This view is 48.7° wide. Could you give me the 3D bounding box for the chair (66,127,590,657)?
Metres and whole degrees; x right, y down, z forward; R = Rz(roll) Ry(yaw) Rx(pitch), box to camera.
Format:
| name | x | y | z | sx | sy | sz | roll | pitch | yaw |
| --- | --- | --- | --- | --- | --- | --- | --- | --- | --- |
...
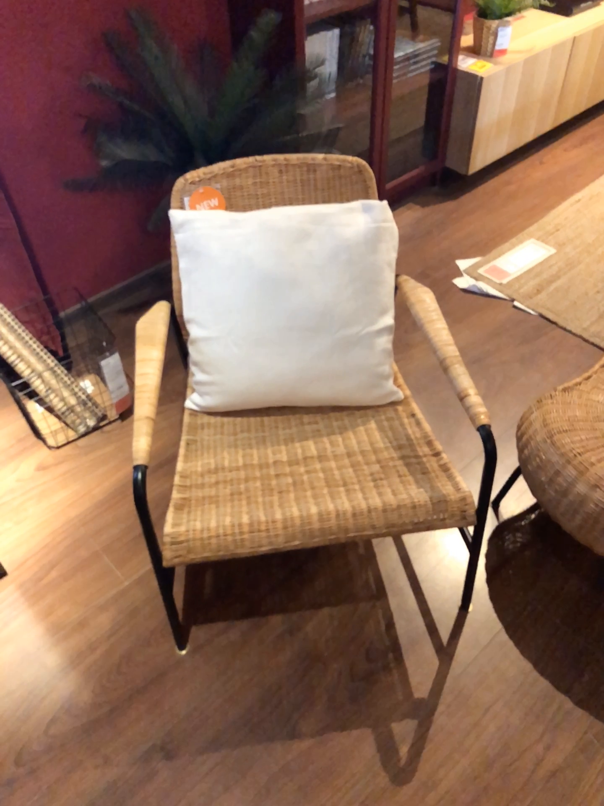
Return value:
| name | x | y | z | sx | sy | sz | roll | pitch | yaw |
| --- | --- | --- | --- | --- | --- | --- | --- | --- | --- |
| chair | 0.003 | -0.025 | 1.322 | 0.670 | 0.706 | 0.664 | -8 | 46 | -5 |
